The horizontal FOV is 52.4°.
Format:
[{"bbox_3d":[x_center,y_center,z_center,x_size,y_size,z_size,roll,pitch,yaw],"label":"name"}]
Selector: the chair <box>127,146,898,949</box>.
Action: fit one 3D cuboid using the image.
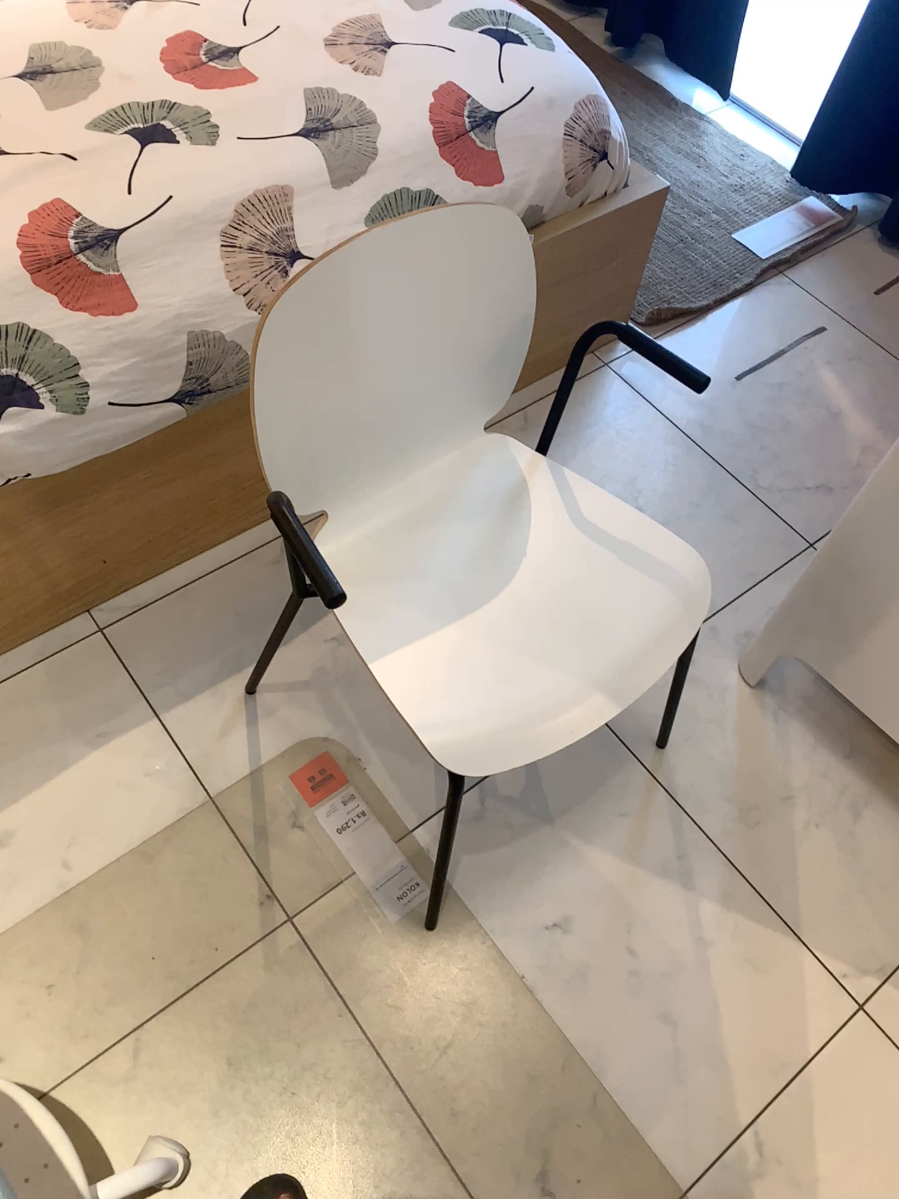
[{"bbox_3d":[0.045,-0.032,1.166,0.551,0.698,0.541,-32,65,-23],"label":"chair"}]
